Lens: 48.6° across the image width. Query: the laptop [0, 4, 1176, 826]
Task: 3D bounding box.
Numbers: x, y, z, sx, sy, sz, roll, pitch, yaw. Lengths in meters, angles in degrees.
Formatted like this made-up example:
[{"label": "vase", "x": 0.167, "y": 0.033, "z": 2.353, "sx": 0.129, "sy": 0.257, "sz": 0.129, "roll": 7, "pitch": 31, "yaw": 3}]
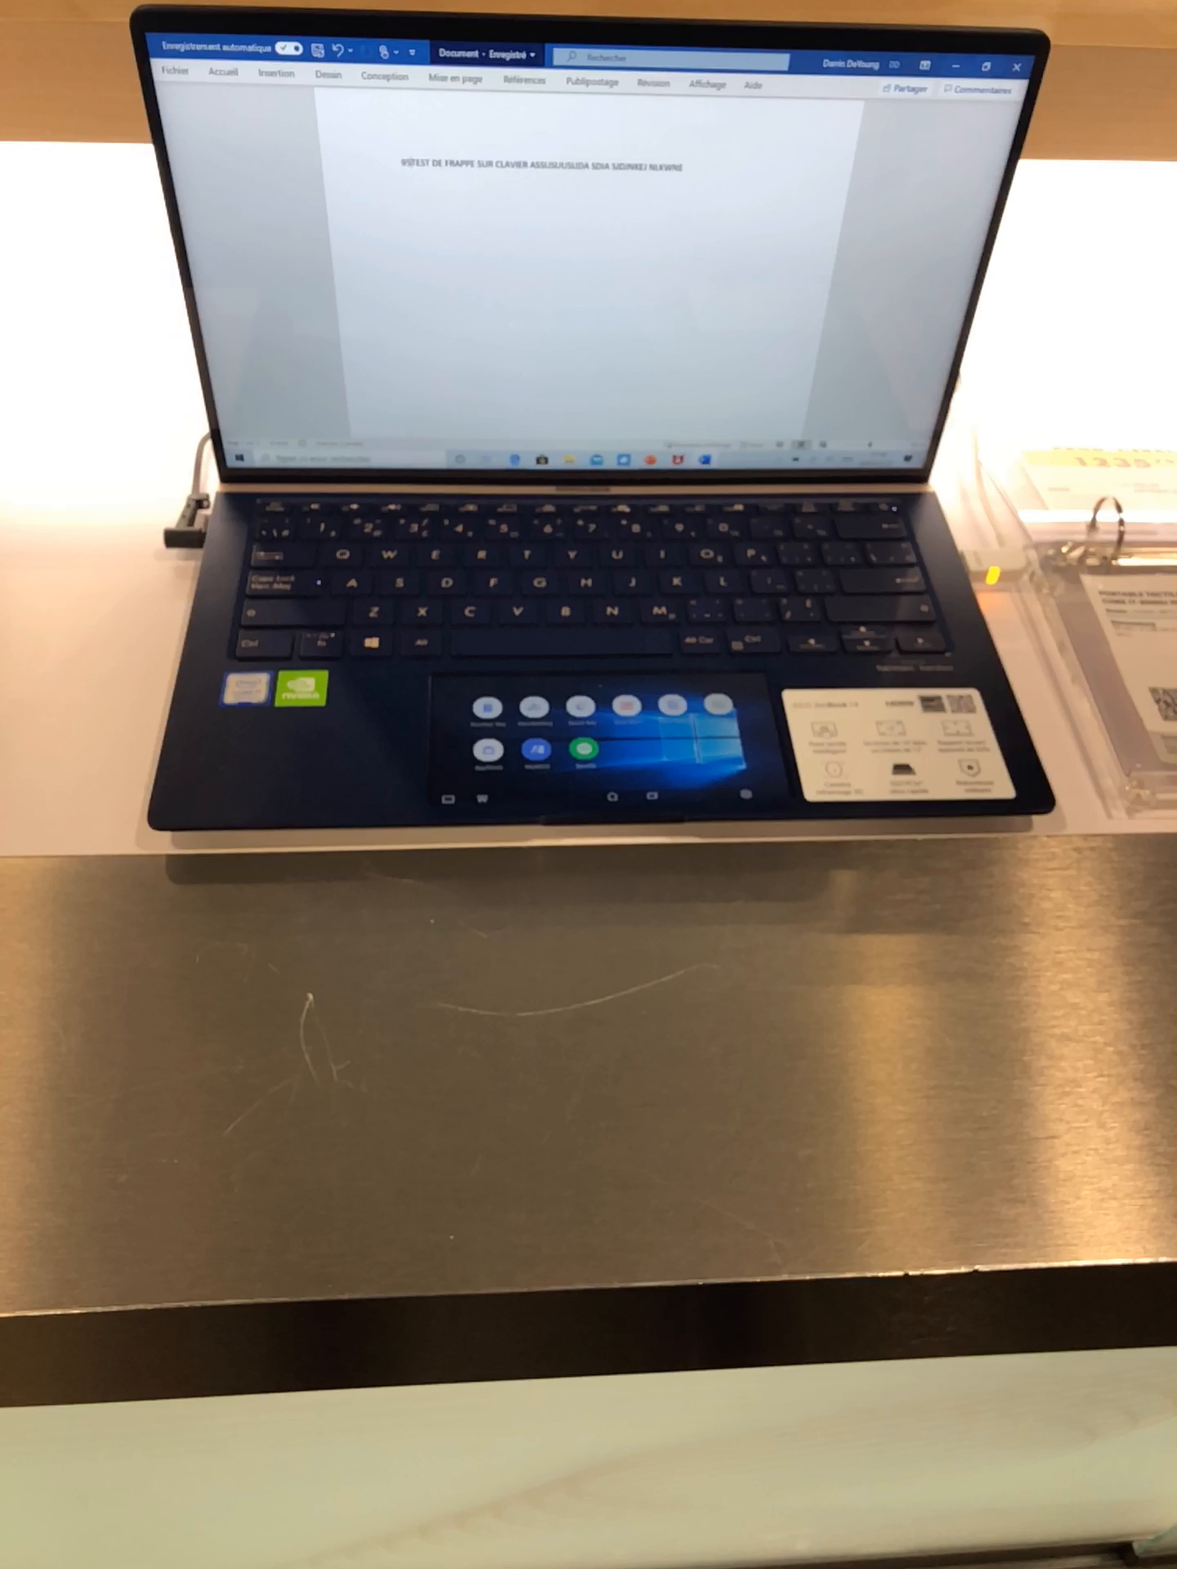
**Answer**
[{"label": "laptop", "x": 0.006, "y": -0.126, "z": 0.448, "sx": 0.317, "sy": 0.193, "sz": 0.200, "roll": -1, "pitch": 48, "yaw": -4}]
